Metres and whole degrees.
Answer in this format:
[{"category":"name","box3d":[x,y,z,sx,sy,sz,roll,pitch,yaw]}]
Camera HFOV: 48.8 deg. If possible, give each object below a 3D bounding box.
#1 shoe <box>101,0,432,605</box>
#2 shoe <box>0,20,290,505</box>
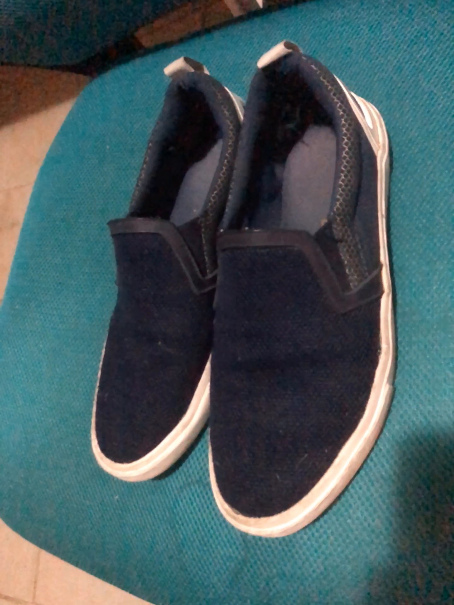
[{"category":"shoe","box3d":[0.039,-0.008,0.291,0.120,0.110,0.290,1,75,30]},{"category":"shoe","box3d":[-0.055,-0.026,0.360,0.120,0.110,0.290,4,77,31]}]
